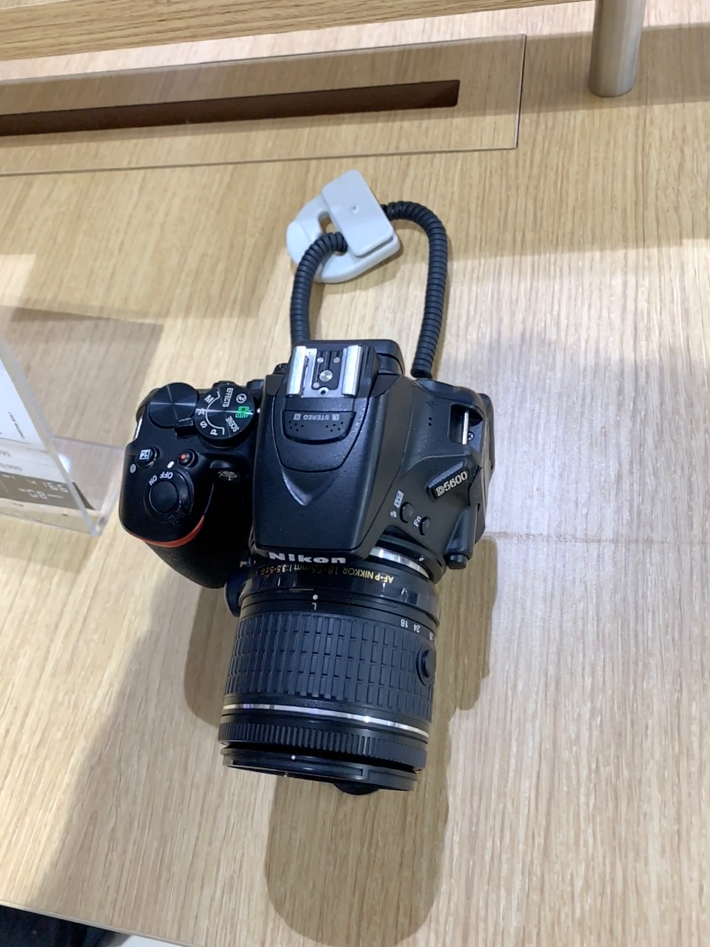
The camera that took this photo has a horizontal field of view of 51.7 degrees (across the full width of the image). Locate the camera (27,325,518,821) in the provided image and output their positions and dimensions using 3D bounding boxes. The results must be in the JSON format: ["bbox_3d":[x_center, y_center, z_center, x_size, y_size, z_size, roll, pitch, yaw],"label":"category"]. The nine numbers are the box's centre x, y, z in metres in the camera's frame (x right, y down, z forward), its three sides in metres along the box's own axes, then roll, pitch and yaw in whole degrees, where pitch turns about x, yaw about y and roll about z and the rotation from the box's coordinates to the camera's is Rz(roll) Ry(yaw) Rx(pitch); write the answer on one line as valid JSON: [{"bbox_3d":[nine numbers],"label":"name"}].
[{"bbox_3d":[-0.009,0.030,0.219,0.110,0.080,0.120,1,64,12],"label":"camera"}]
